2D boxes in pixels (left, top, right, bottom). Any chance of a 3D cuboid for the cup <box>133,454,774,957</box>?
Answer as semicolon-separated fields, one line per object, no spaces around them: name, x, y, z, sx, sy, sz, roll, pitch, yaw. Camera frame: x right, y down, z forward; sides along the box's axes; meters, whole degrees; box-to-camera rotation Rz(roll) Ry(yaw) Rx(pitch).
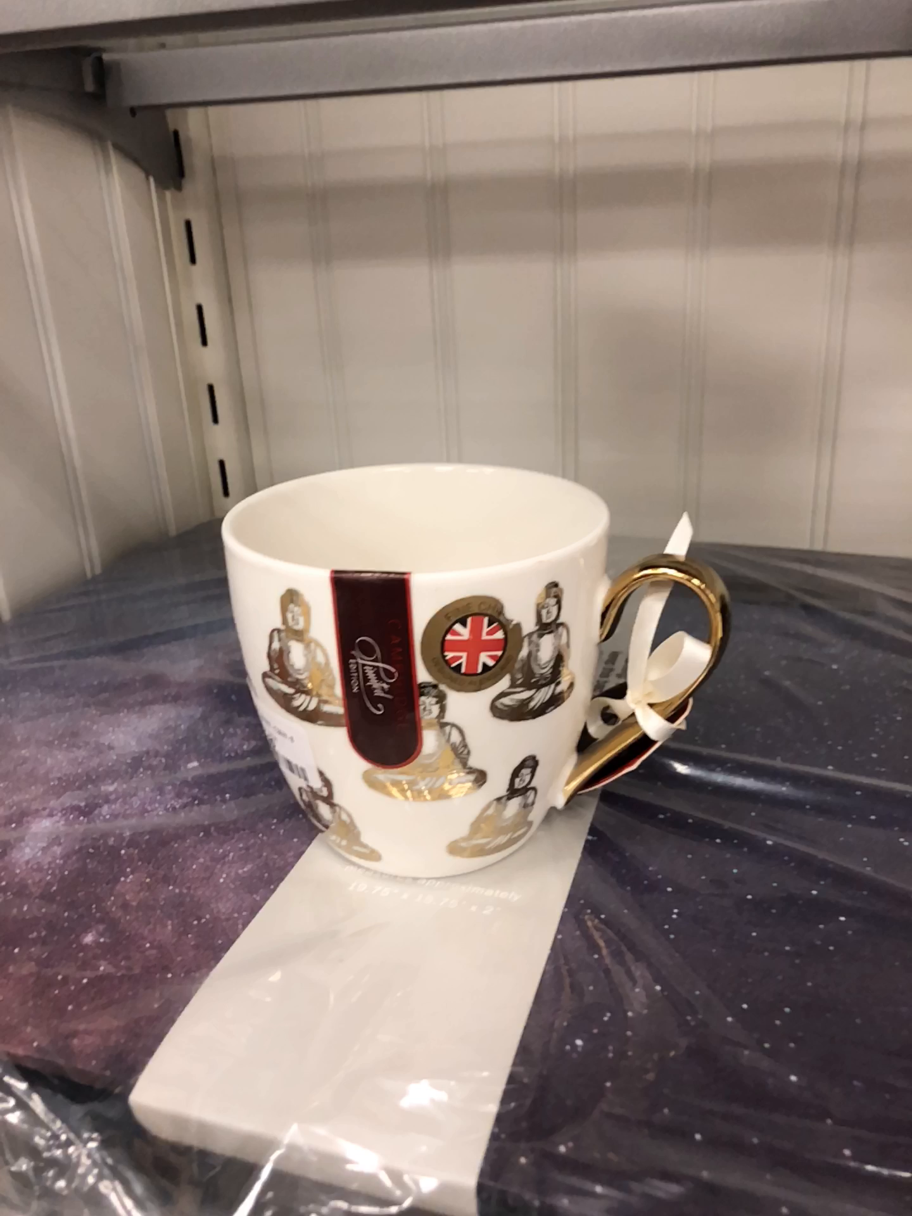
cup;0.008;0.016;0.273;0.137;0.089;0.101;2;23;12
